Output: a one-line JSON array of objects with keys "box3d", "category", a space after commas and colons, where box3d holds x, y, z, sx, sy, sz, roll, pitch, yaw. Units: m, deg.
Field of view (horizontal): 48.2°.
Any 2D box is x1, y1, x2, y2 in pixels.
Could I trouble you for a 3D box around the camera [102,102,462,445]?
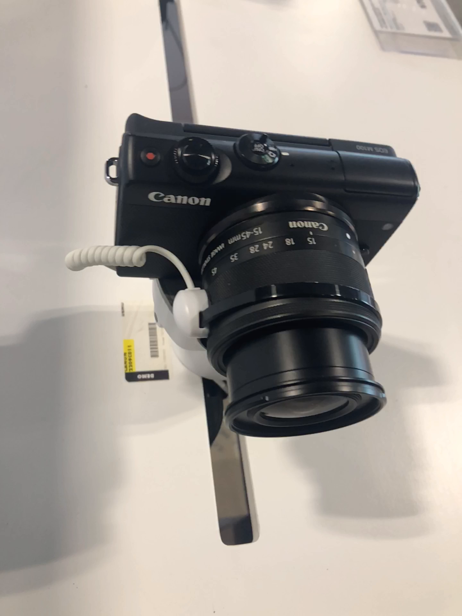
[{"box3d": [0.011, -0.007, 0.187, 0.110, 0.072, 0.091, 2, 61, -13], "category": "camera"}]
